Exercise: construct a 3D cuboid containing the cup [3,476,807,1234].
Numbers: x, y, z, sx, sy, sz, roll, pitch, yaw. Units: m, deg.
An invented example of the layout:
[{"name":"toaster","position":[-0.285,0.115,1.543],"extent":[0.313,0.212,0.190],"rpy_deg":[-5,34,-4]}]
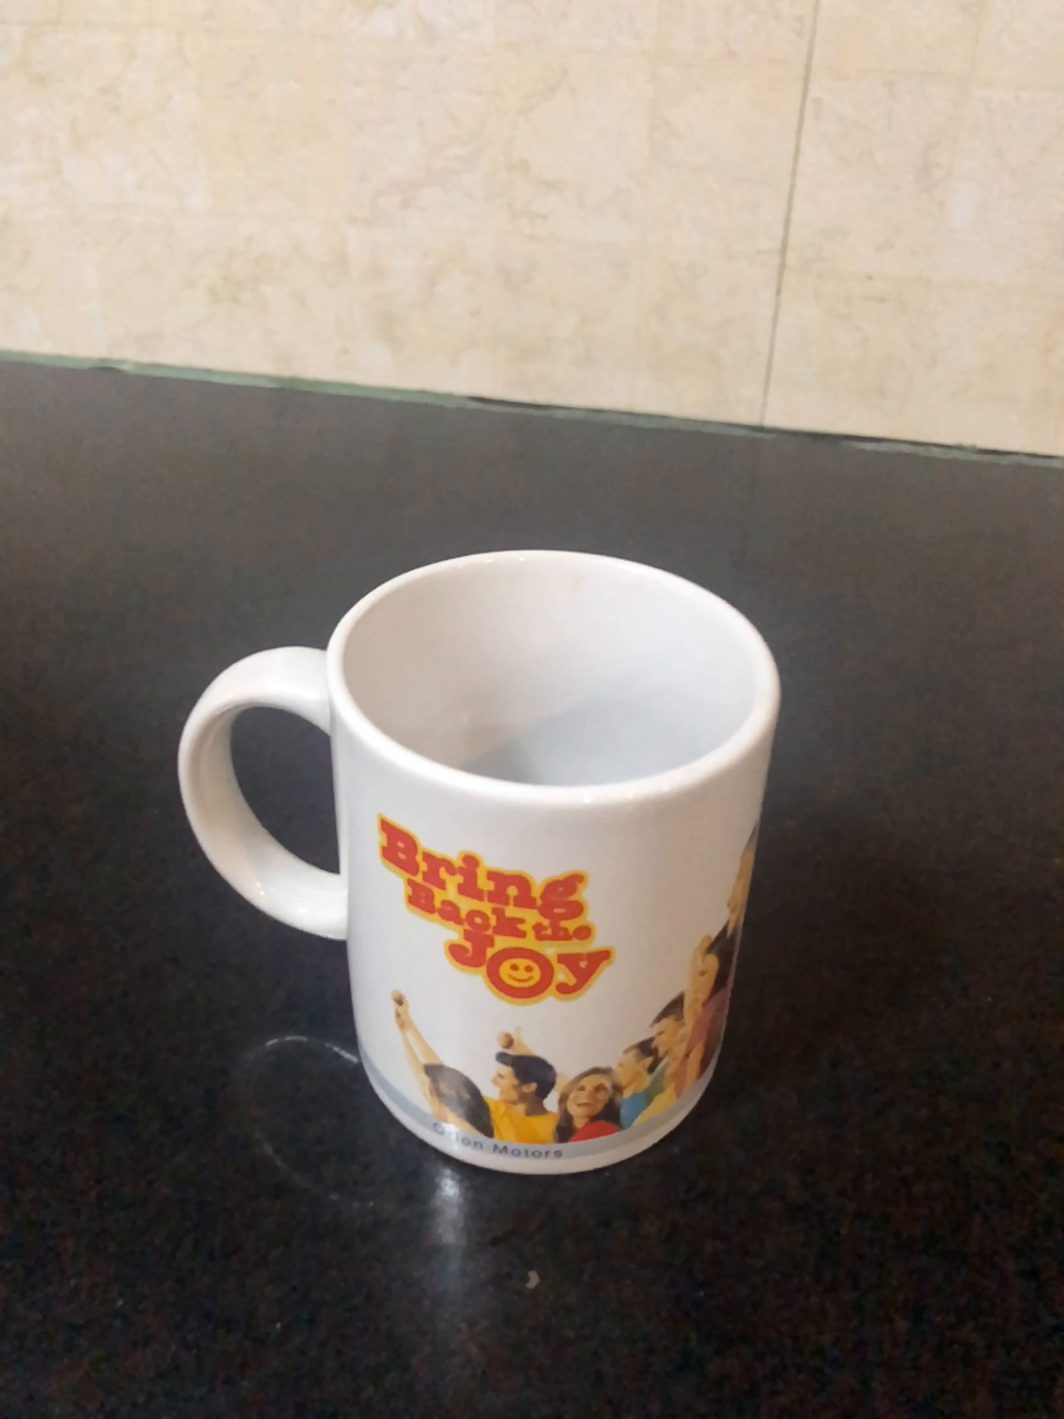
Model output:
[{"name":"cup","position":[-0.017,0.023,0.238],"extent":[0.120,0.099,0.081],"rpy_deg":[11,35,14]}]
